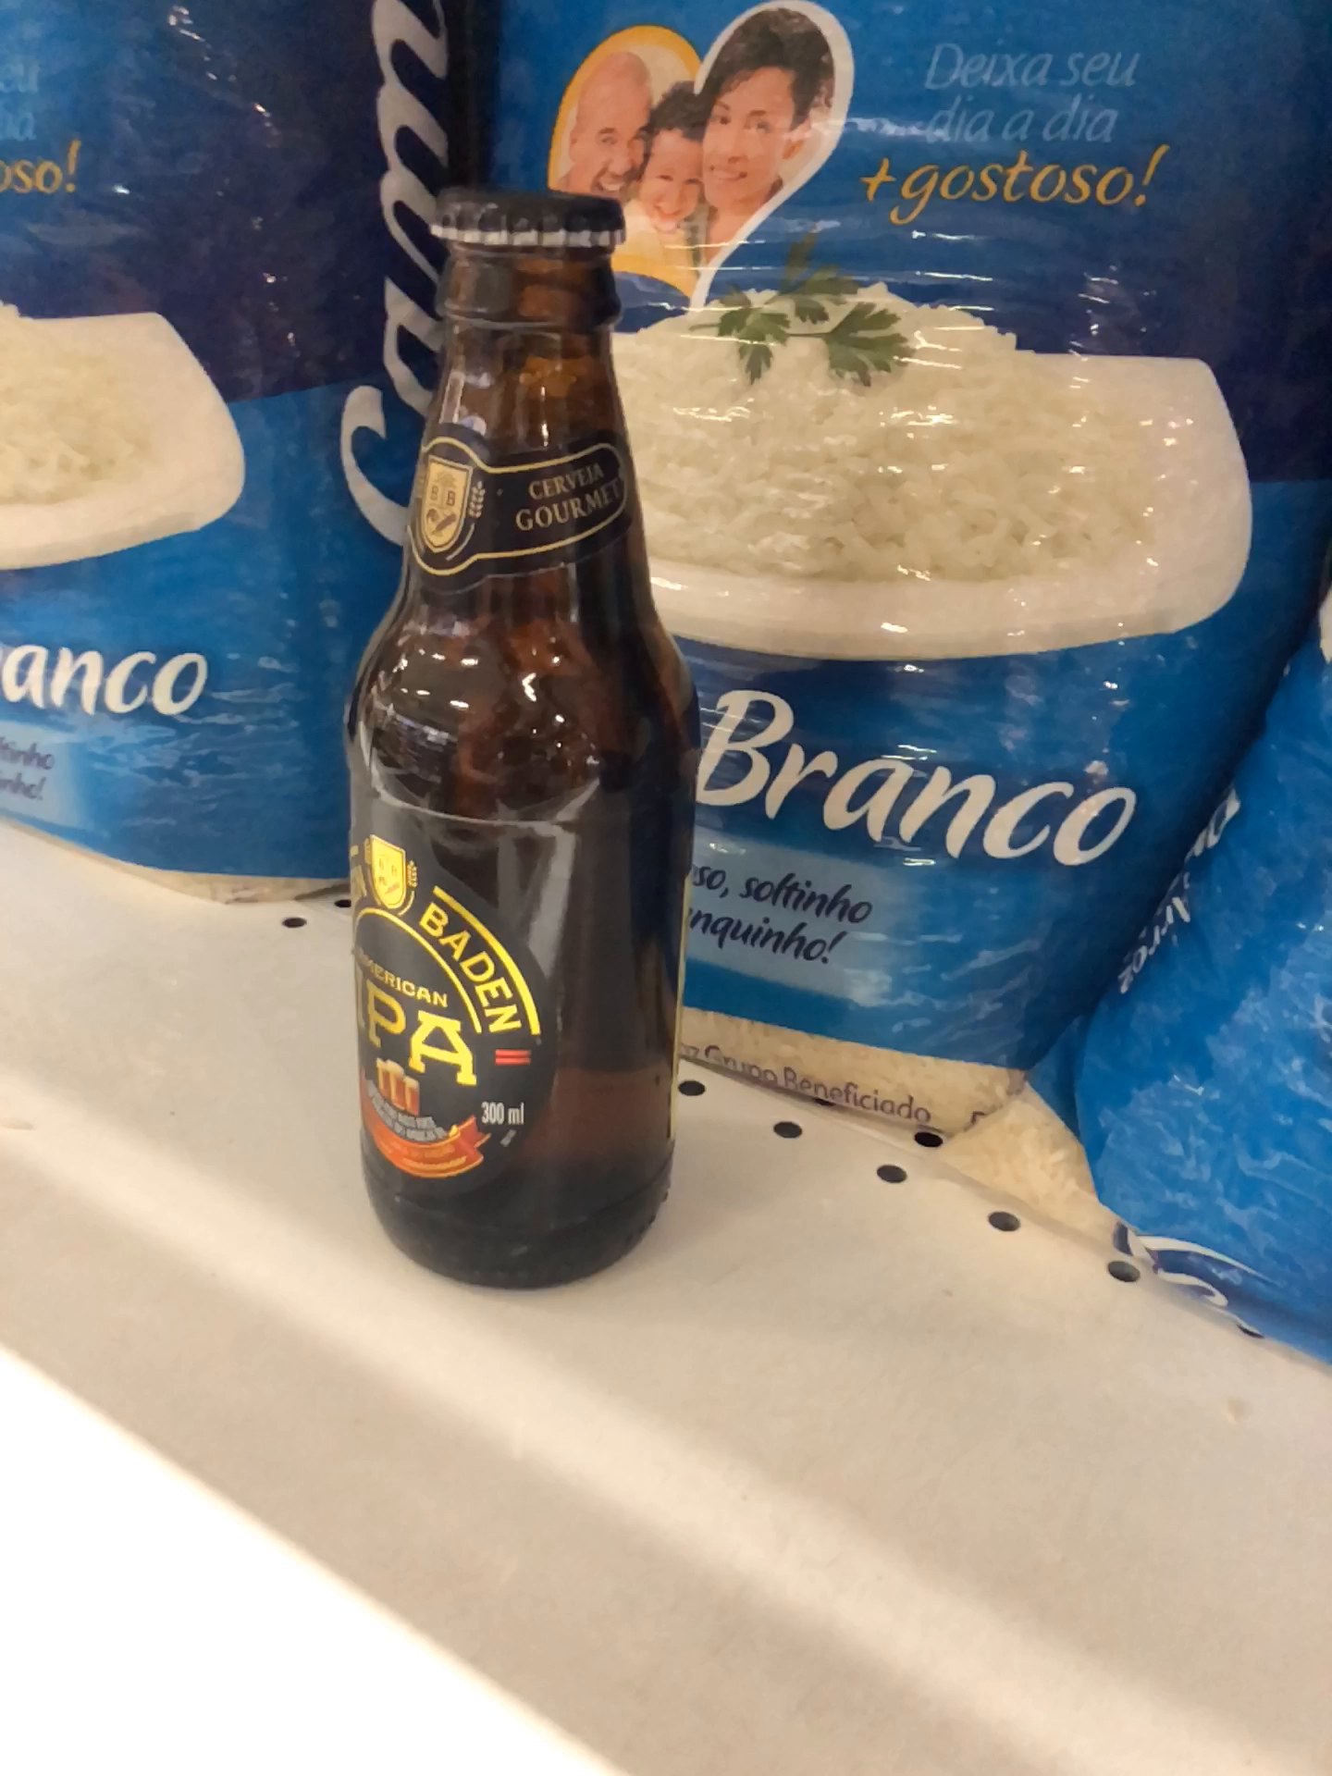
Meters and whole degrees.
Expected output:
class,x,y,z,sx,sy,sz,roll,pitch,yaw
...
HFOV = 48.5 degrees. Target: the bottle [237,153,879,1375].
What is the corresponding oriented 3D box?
class,x,y,z,sx,sy,sz,roll,pitch,yaw
bottle,-0.020,-0.020,0.256,0.070,0.189,0.060,25,35,35
